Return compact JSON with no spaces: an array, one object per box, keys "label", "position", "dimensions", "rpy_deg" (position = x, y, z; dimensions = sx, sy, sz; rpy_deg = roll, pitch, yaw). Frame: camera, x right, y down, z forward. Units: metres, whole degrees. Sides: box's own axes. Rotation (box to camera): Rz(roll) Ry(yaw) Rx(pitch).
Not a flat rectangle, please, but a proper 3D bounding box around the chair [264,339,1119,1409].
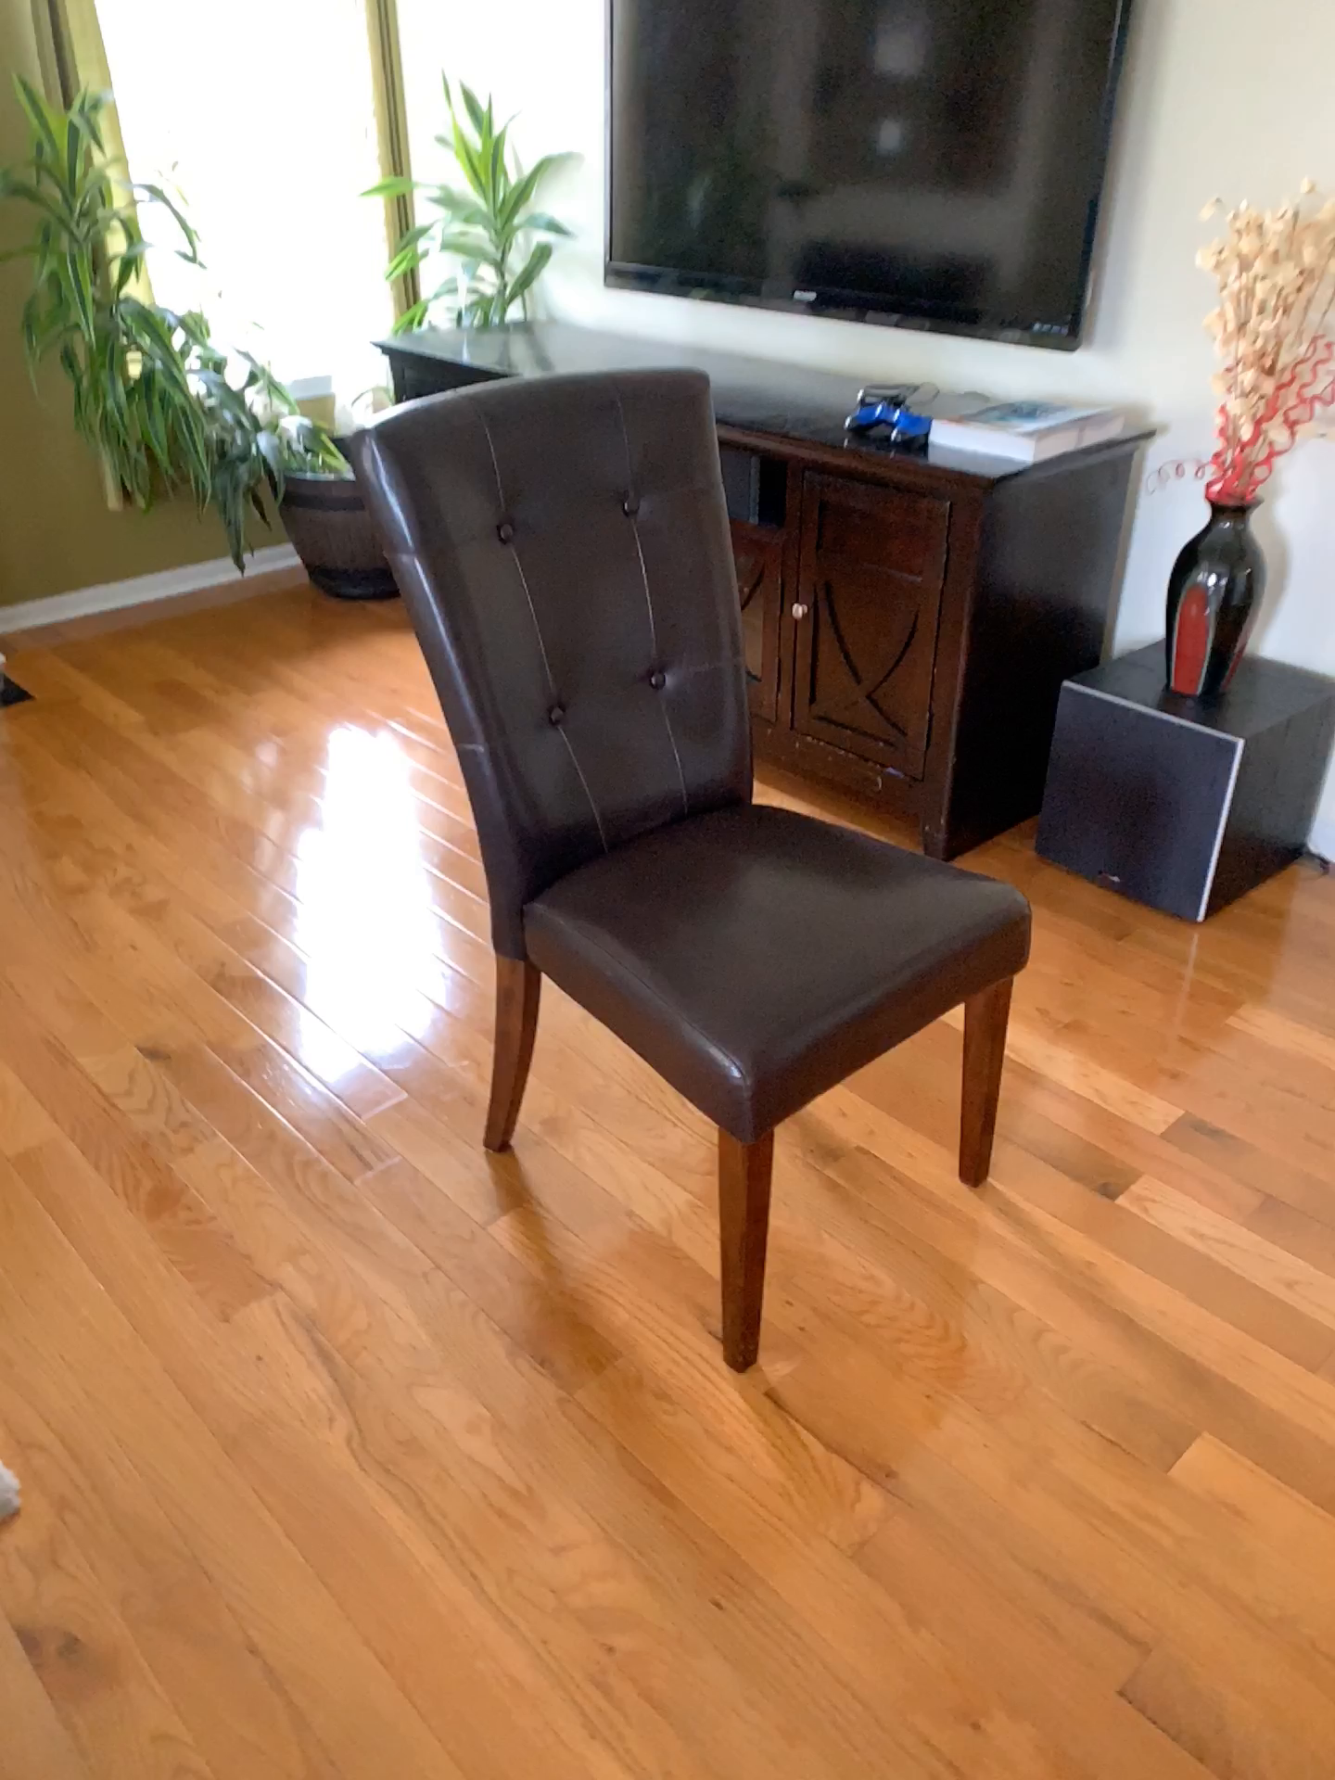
[{"label":"chair","position":[0.003,-0.076,1.651],"dimensions":[0.540,0.976,0.724],"rpy_deg":[-25,38,-36]}]
